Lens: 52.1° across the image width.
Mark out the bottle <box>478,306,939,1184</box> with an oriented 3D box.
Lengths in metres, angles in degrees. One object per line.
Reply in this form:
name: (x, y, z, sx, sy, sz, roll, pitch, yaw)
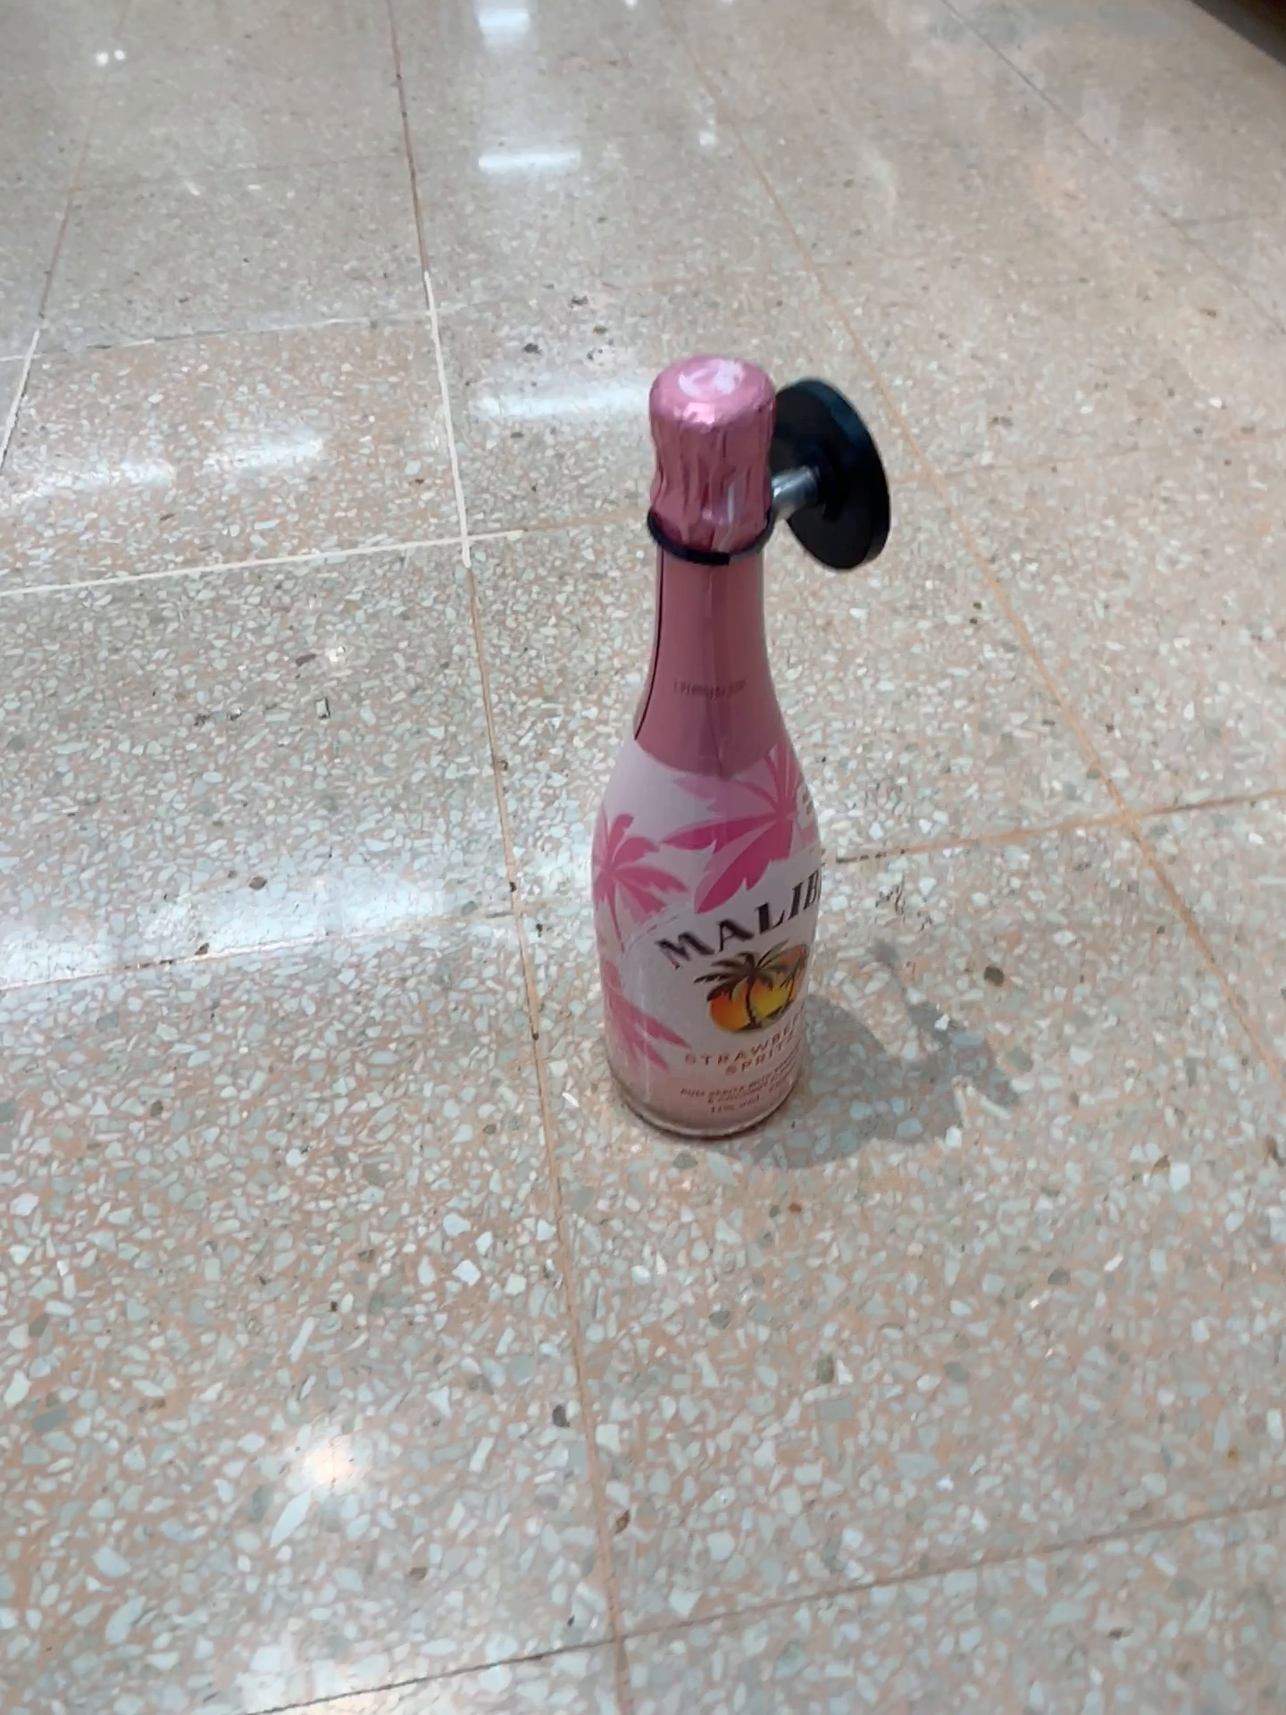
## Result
bottle: (0.021, -0.014, 0.430, 0.080, 0.286, 0.080, -1, 48, 1)
